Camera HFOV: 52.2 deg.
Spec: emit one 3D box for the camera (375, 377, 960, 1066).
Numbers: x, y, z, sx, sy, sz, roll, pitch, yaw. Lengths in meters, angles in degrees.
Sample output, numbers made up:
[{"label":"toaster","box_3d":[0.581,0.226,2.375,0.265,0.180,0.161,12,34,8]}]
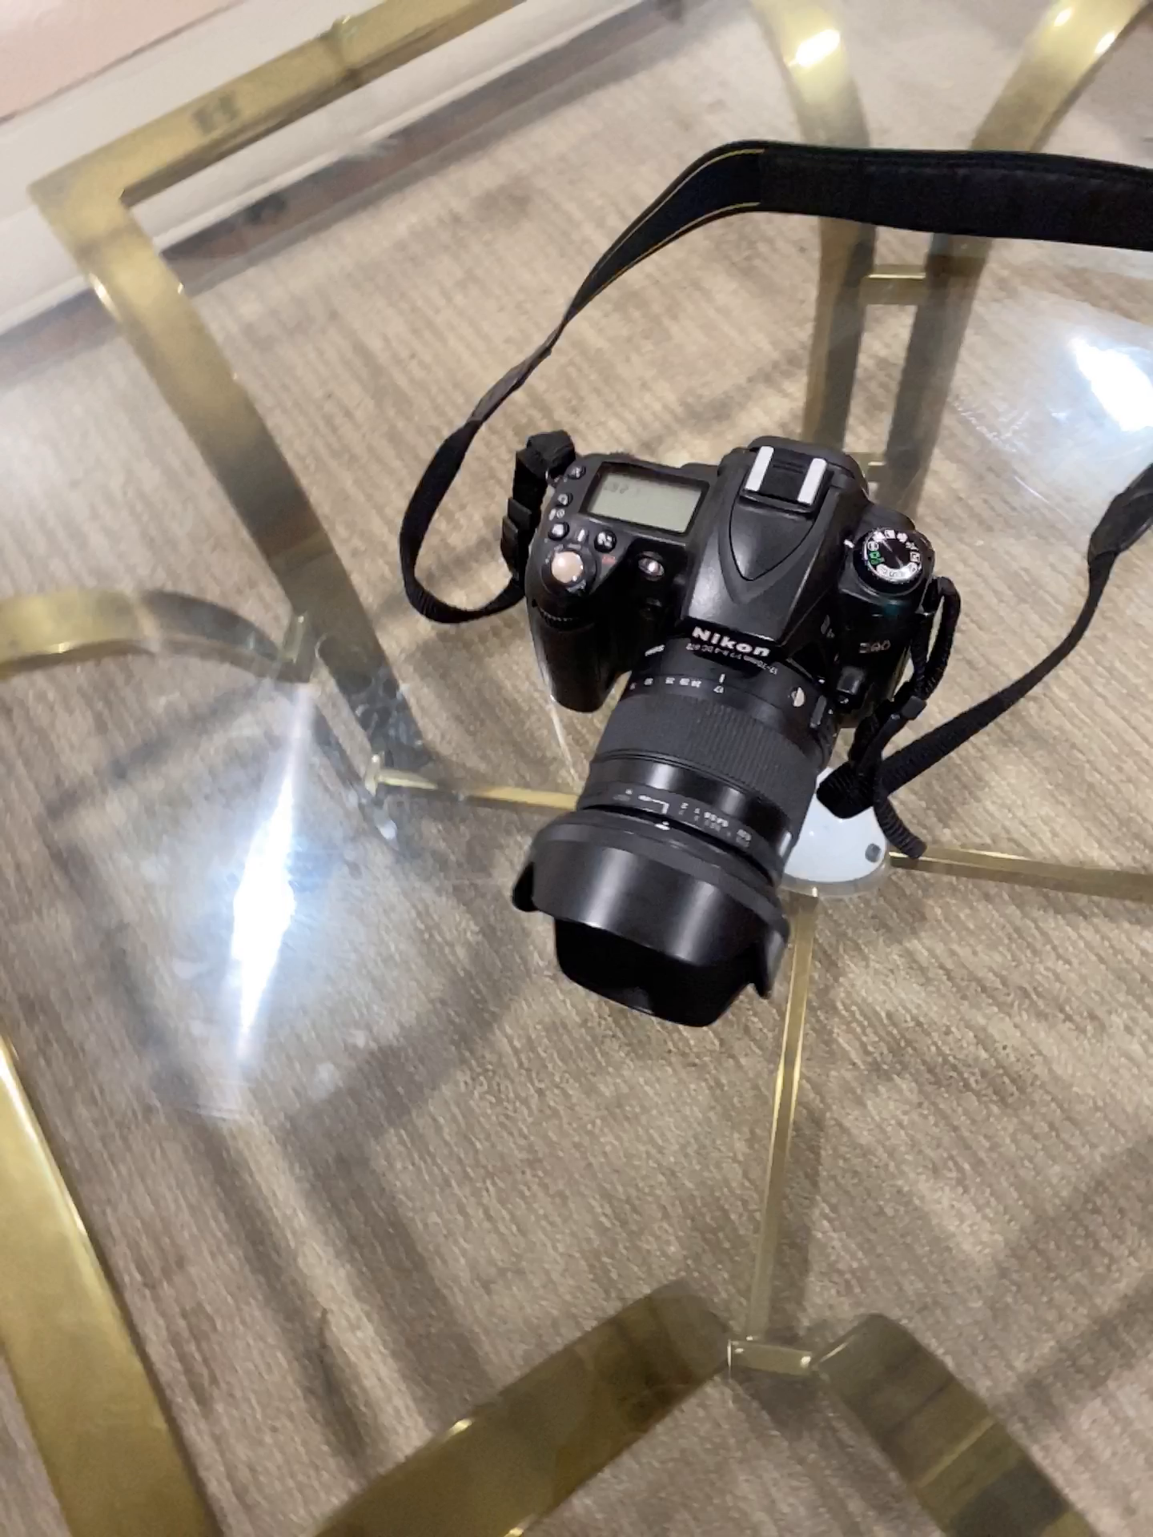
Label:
[{"label":"camera","box_3d":[0.038,-0.015,0.413,0.130,0.120,0.180,15,67,13]}]
